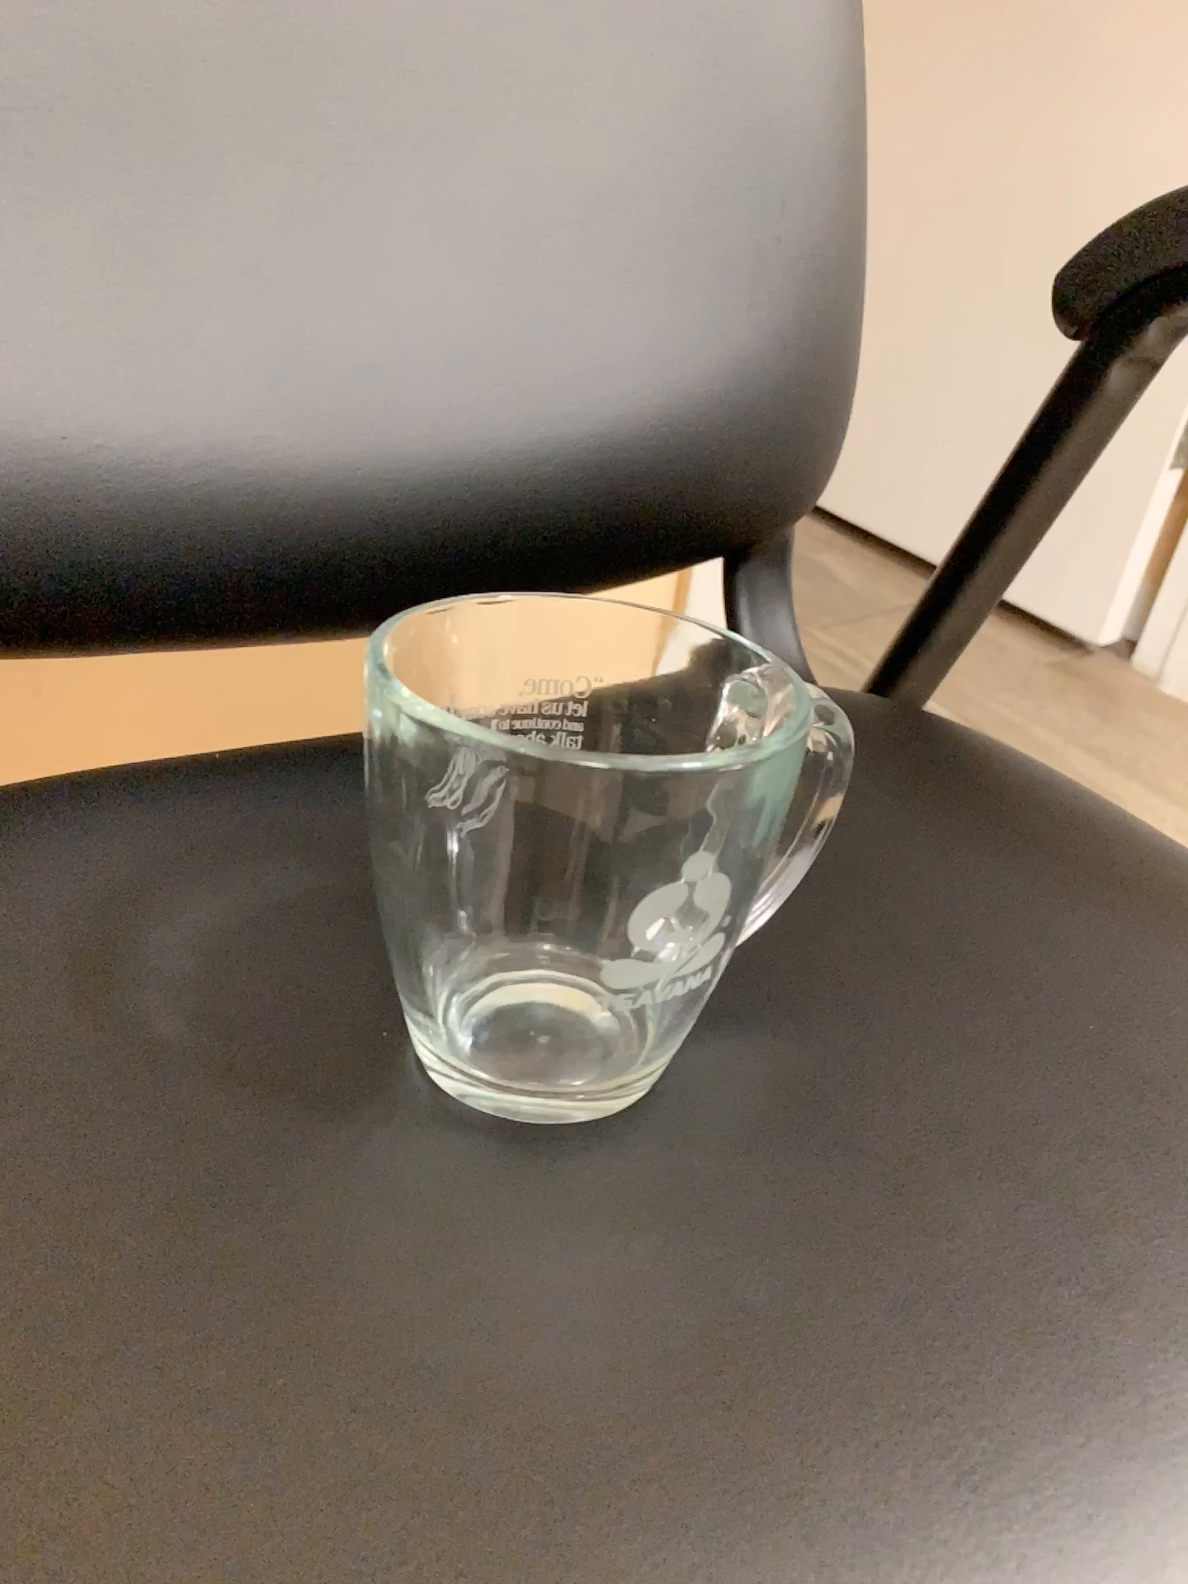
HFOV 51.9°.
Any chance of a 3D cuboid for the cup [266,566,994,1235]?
[{"bbox_3d":[0.005,0.012,0.301,0.140,0.100,0.096,-14,33,-37],"label":"cup"}]
